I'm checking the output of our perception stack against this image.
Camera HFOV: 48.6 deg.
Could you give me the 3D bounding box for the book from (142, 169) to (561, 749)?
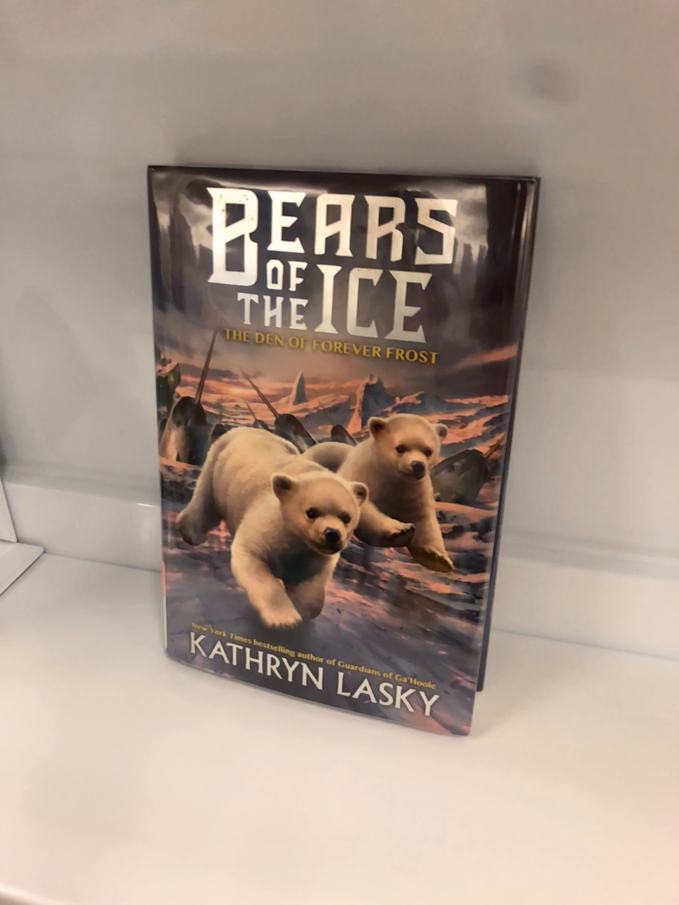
[{"bbox_3d":[-0.001,0.000,0.313,0.150,0.216,0.043,9,19,19],"label":"book"}]
